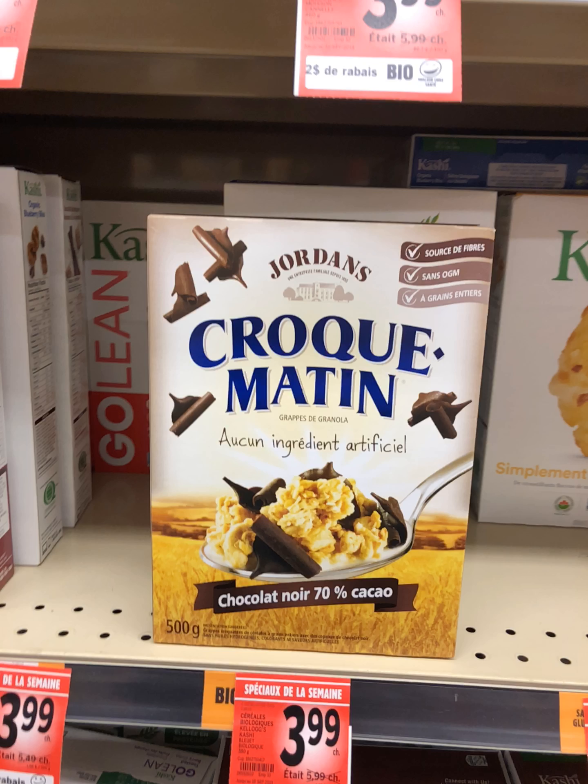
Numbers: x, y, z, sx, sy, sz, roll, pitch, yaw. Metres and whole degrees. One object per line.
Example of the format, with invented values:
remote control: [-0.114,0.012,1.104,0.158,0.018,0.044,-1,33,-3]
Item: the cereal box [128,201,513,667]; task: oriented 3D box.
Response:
cereal box: [0.009,0.025,0.371,0.190,0.249,0.050,2,12,1]
